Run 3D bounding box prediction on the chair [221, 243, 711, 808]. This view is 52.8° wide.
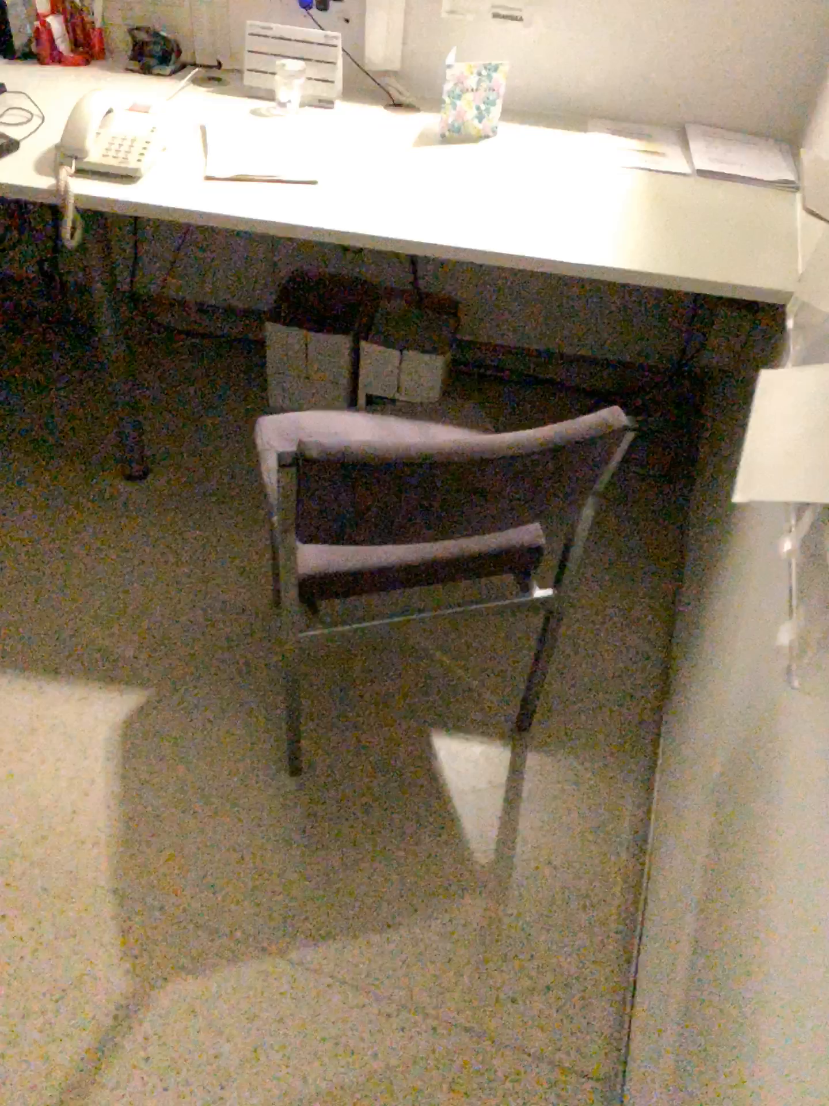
[{"bbox_3d":[0.002,-0.052,1.376,0.540,0.693,0.545,-6,44,-14],"label":"chair"}]
